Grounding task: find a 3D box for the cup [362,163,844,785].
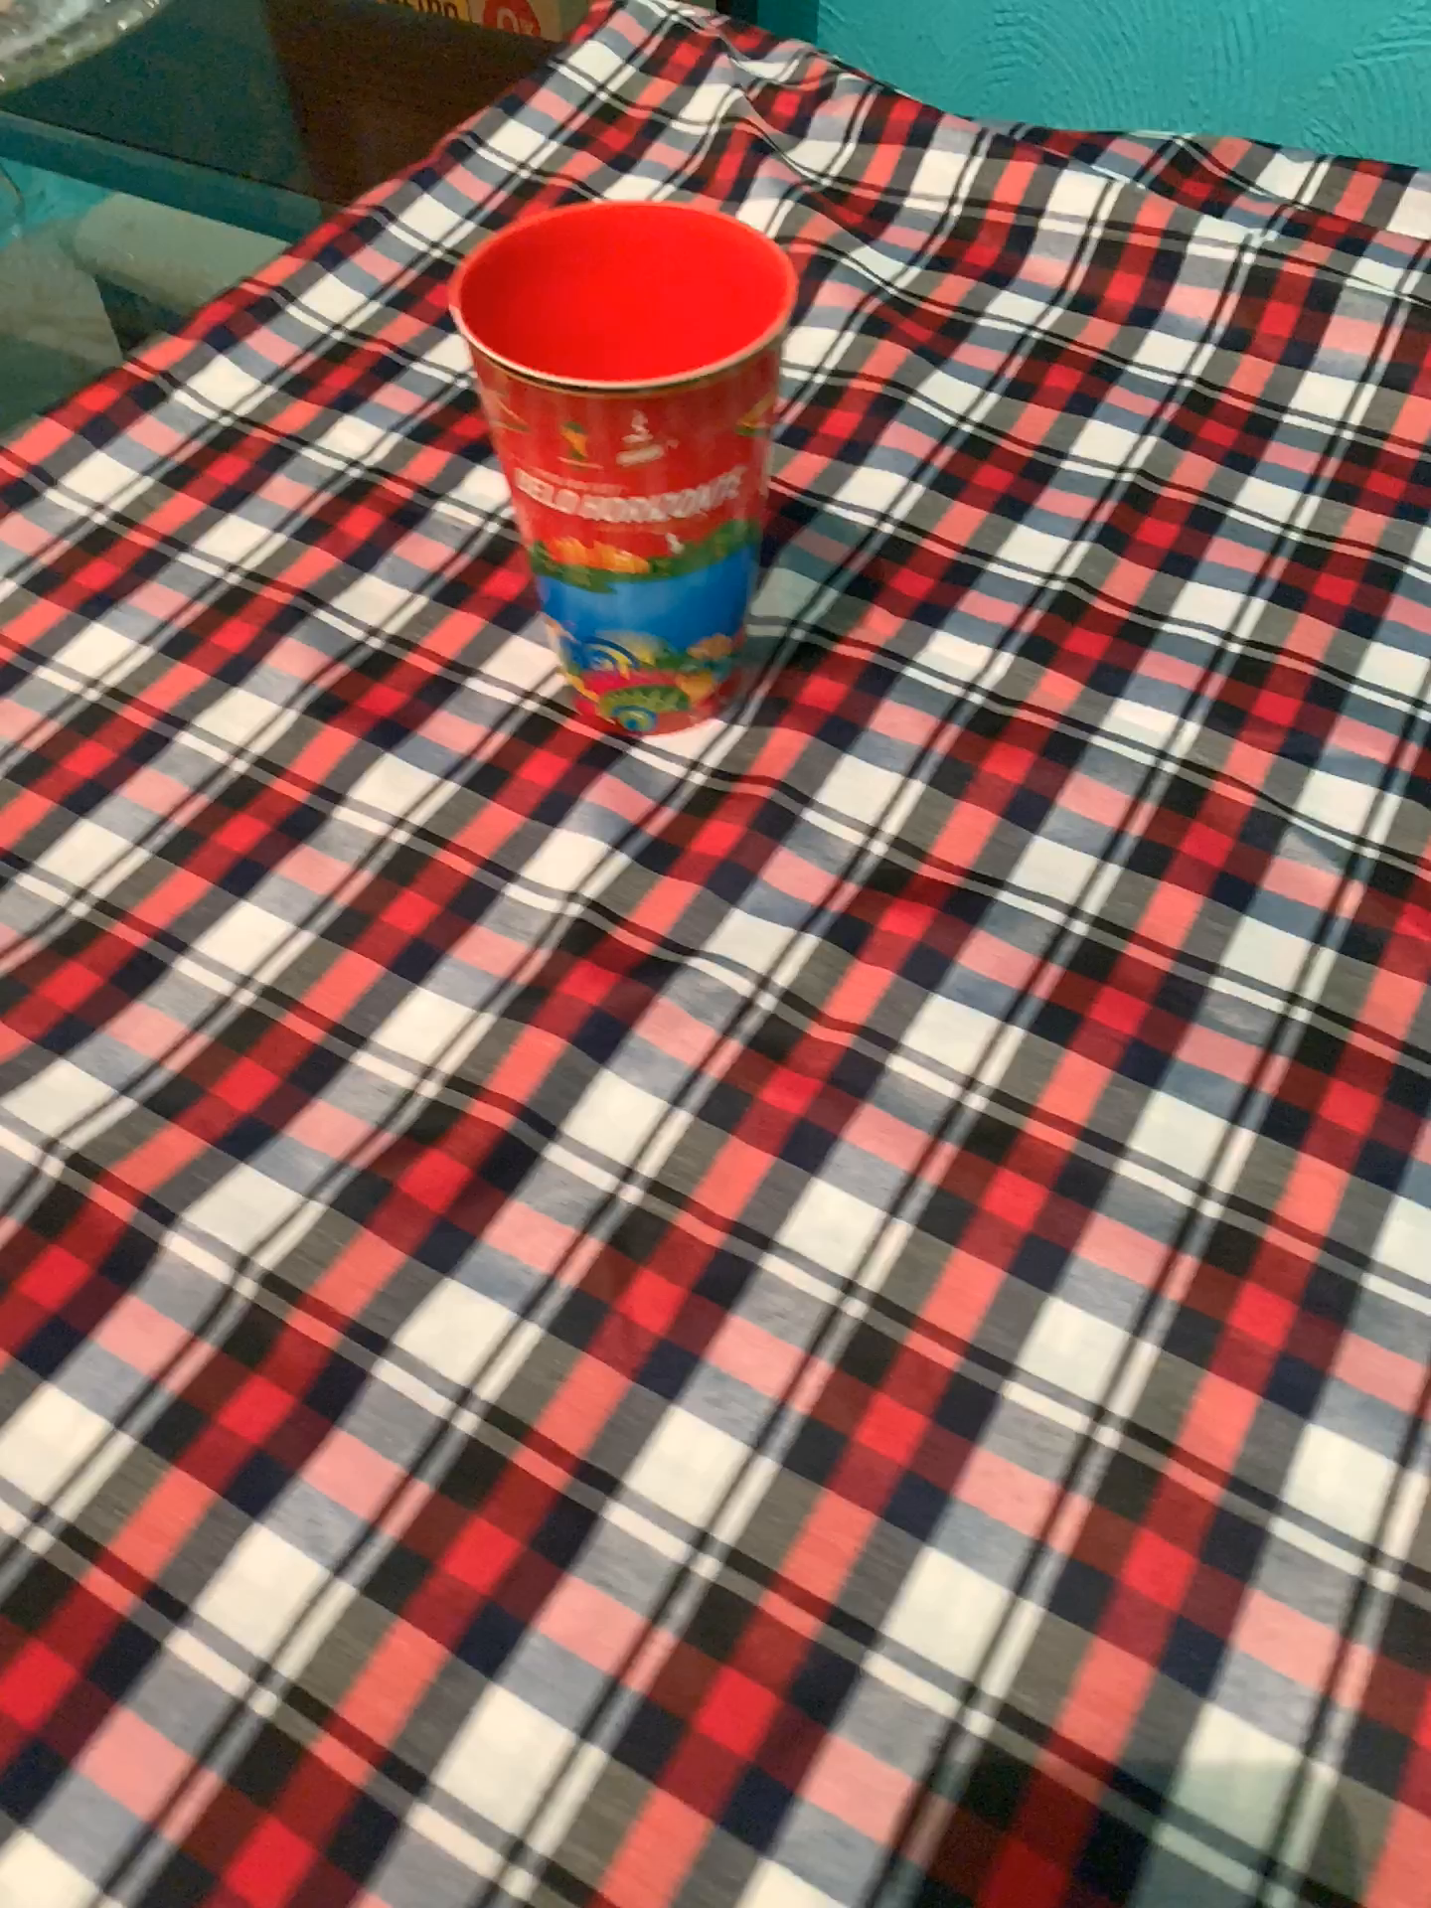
[{"bbox_3d":[-0.025,-0.140,0.437,0.100,0.129,0.100,-1,53,1],"label":"cup"}]
